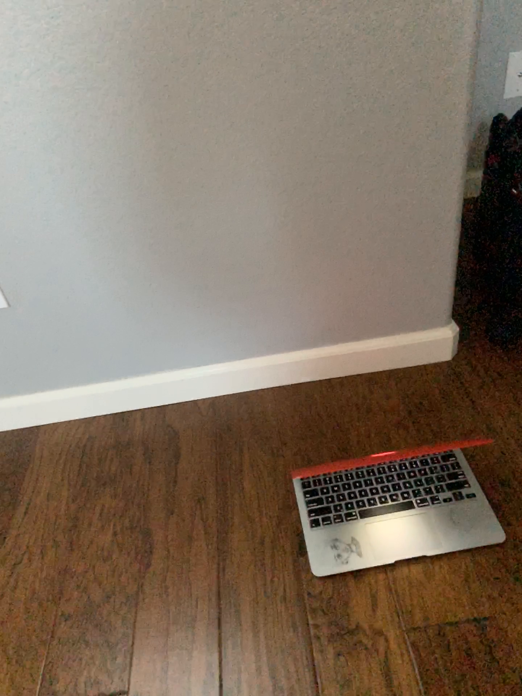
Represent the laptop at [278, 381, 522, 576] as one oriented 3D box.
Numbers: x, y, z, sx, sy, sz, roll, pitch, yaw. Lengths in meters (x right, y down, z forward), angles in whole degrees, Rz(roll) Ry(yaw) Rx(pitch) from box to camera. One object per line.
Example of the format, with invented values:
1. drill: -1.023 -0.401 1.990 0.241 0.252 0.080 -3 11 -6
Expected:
1. laptop: 0.198 0.195 0.825 0.301 0.139 0.199 -10 38 -2
